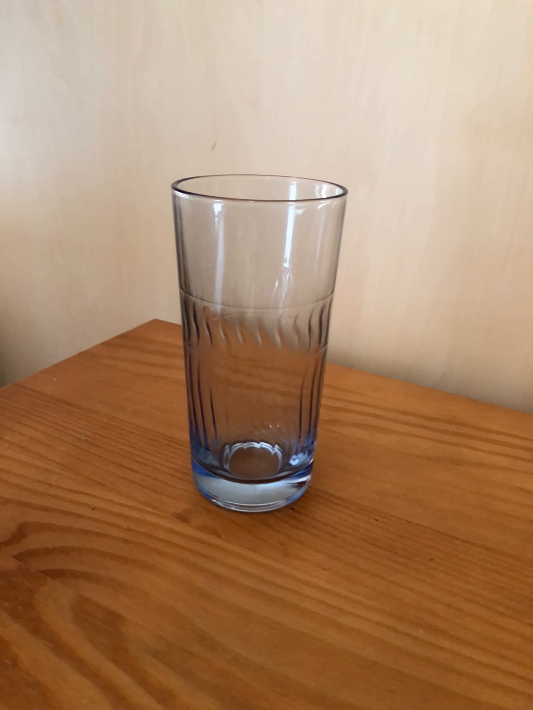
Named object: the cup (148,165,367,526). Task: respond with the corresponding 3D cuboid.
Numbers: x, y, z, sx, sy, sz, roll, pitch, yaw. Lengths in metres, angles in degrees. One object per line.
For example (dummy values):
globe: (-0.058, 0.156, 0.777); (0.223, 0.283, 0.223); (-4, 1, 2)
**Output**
cup: (-0.006, -0.006, 0.249); (0.070, 0.129, 0.076); (3, 24, -1)
